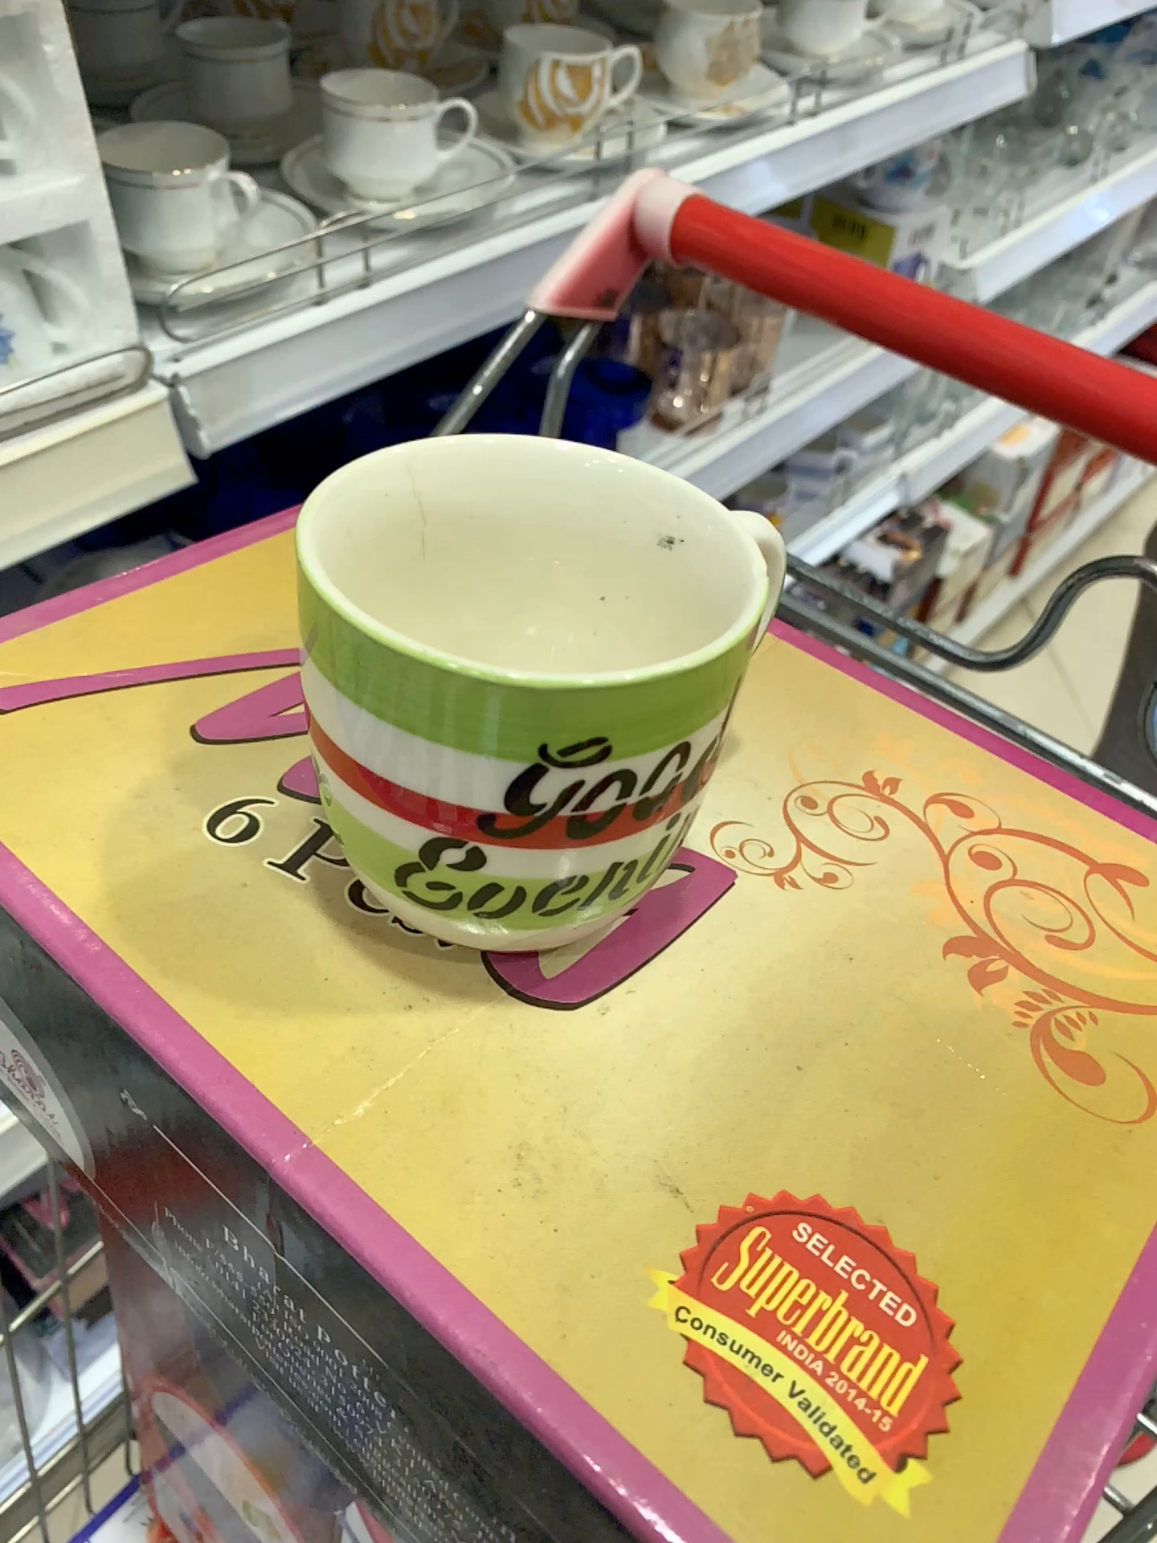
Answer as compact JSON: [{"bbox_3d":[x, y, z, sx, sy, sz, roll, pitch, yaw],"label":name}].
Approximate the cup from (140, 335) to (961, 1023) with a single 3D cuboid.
[{"bbox_3d":[-0.004,-0.026,0.216,0.110,0.060,0.080,-28,49,-34],"label":"cup"}]
